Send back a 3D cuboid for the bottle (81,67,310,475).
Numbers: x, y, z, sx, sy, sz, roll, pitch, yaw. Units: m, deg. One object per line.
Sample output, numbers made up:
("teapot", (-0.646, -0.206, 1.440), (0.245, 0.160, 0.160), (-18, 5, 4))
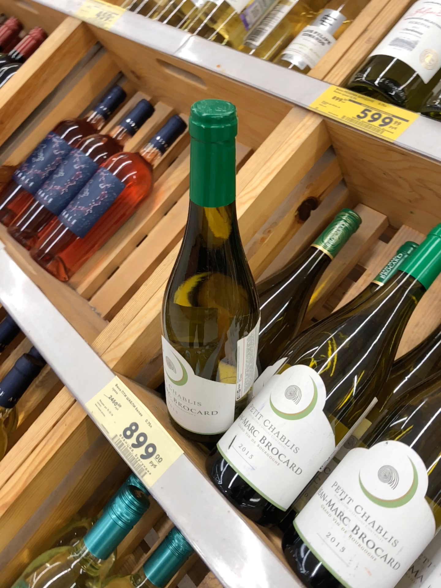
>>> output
("bottle", (-0.017, 0.004, 0.362), (0.090, 0.288, 0.090), (1, 42, -1))
